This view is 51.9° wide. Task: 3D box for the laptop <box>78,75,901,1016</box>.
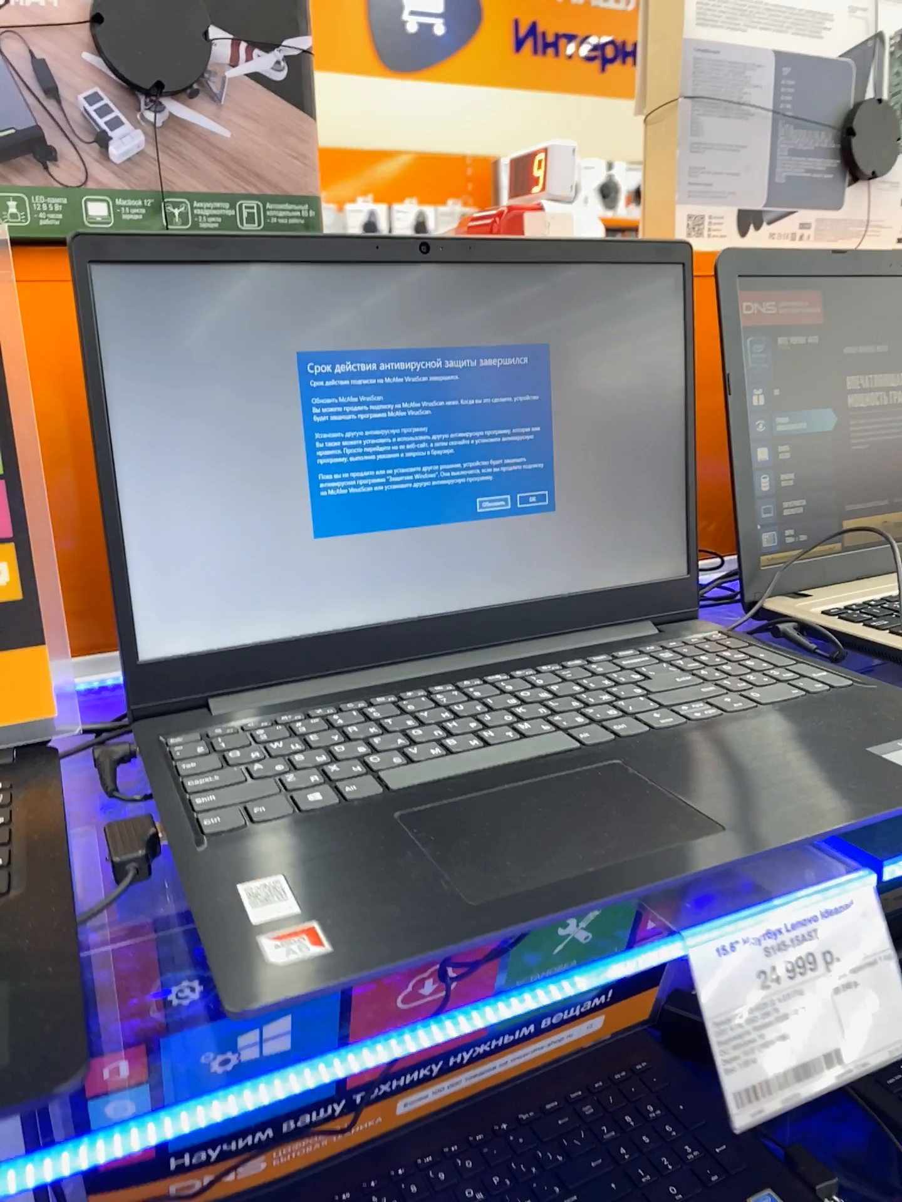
[{"bbox_3d":[0.043,-0.055,0.423,0.361,0.240,0.273,-8,15,-22],"label":"laptop"}]
